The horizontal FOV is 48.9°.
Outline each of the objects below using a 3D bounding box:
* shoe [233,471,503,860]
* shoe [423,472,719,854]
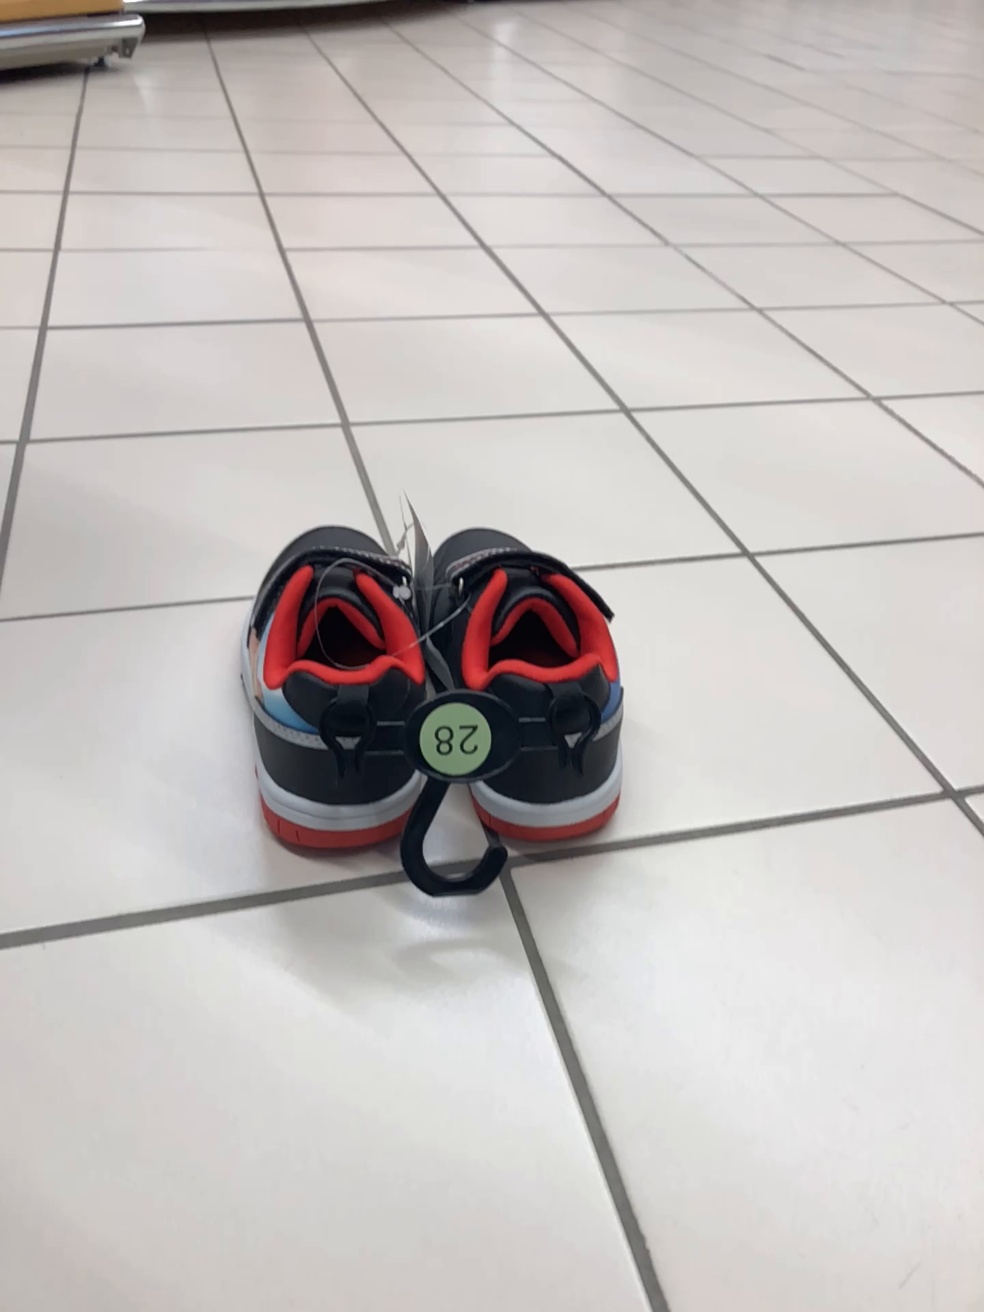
[{"bbox_3d":[-0.062,-0.009,0.475,0.094,0.053,0.207,-3,36,-11],"label":"shoe"},{"bbox_3d":[0.023,-0.010,0.483,0.080,0.053,0.210,-3,36,-10],"label":"shoe"}]
